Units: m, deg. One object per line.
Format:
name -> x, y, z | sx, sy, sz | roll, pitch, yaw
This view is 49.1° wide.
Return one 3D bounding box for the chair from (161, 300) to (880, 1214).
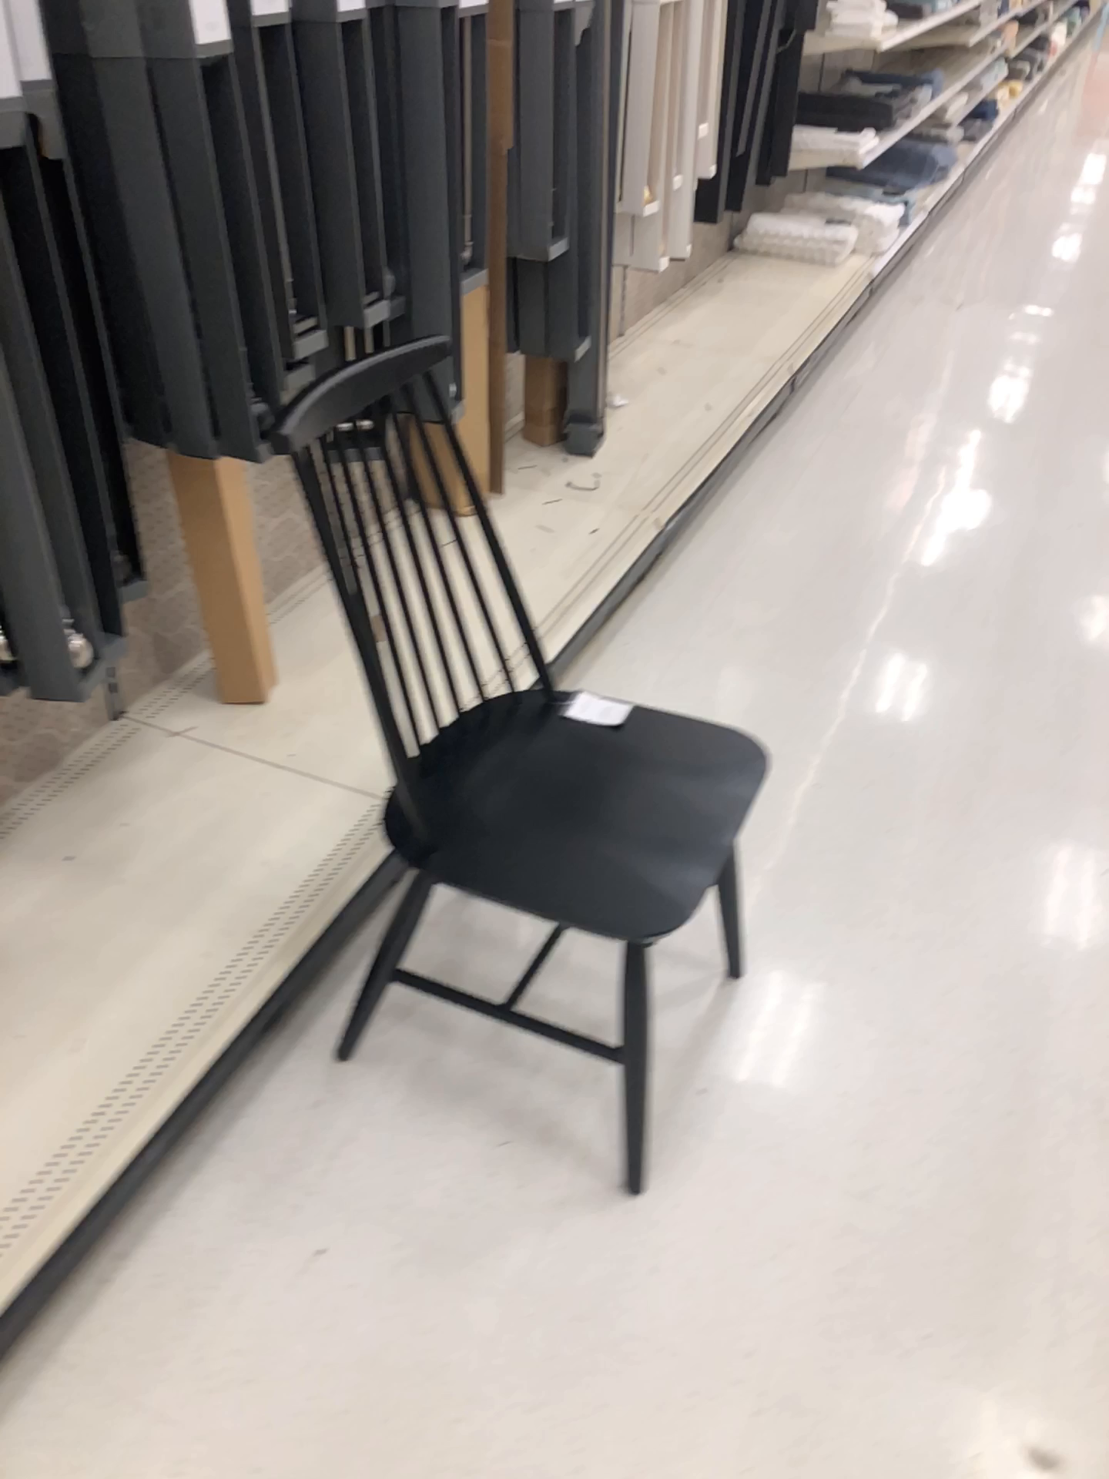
chair -> -0.024, 0.011, 1.556 | 0.608, 0.909, 0.520 | 16, 37, 18
